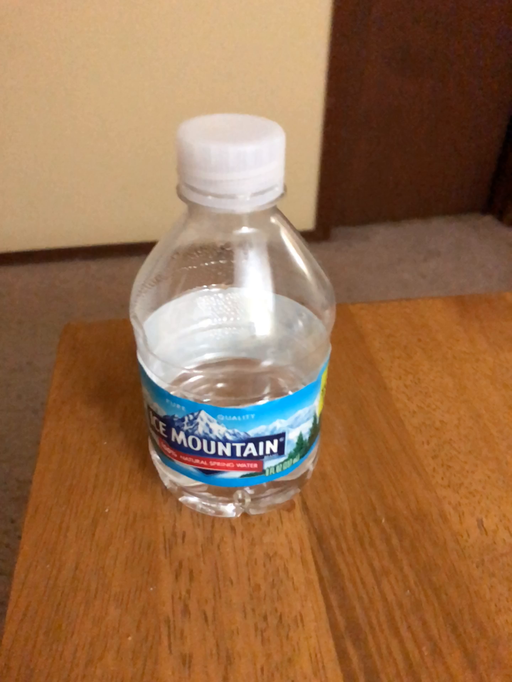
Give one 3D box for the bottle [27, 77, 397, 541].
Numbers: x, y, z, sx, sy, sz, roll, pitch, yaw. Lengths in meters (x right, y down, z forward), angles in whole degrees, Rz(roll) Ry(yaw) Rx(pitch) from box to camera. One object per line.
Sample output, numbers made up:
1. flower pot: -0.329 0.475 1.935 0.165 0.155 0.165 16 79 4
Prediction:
1. bottle: -0.005 -0.010 0.173 0.070 0.110 0.070 0 38 0
